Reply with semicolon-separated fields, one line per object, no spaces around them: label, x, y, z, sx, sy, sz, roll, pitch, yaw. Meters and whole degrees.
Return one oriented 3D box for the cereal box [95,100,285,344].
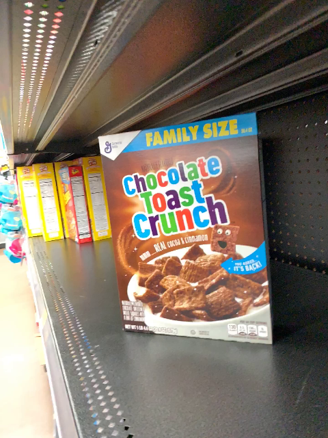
cereal box;0.042;0.013;0.506;0.240;0.319;0.070;-4;9;22
